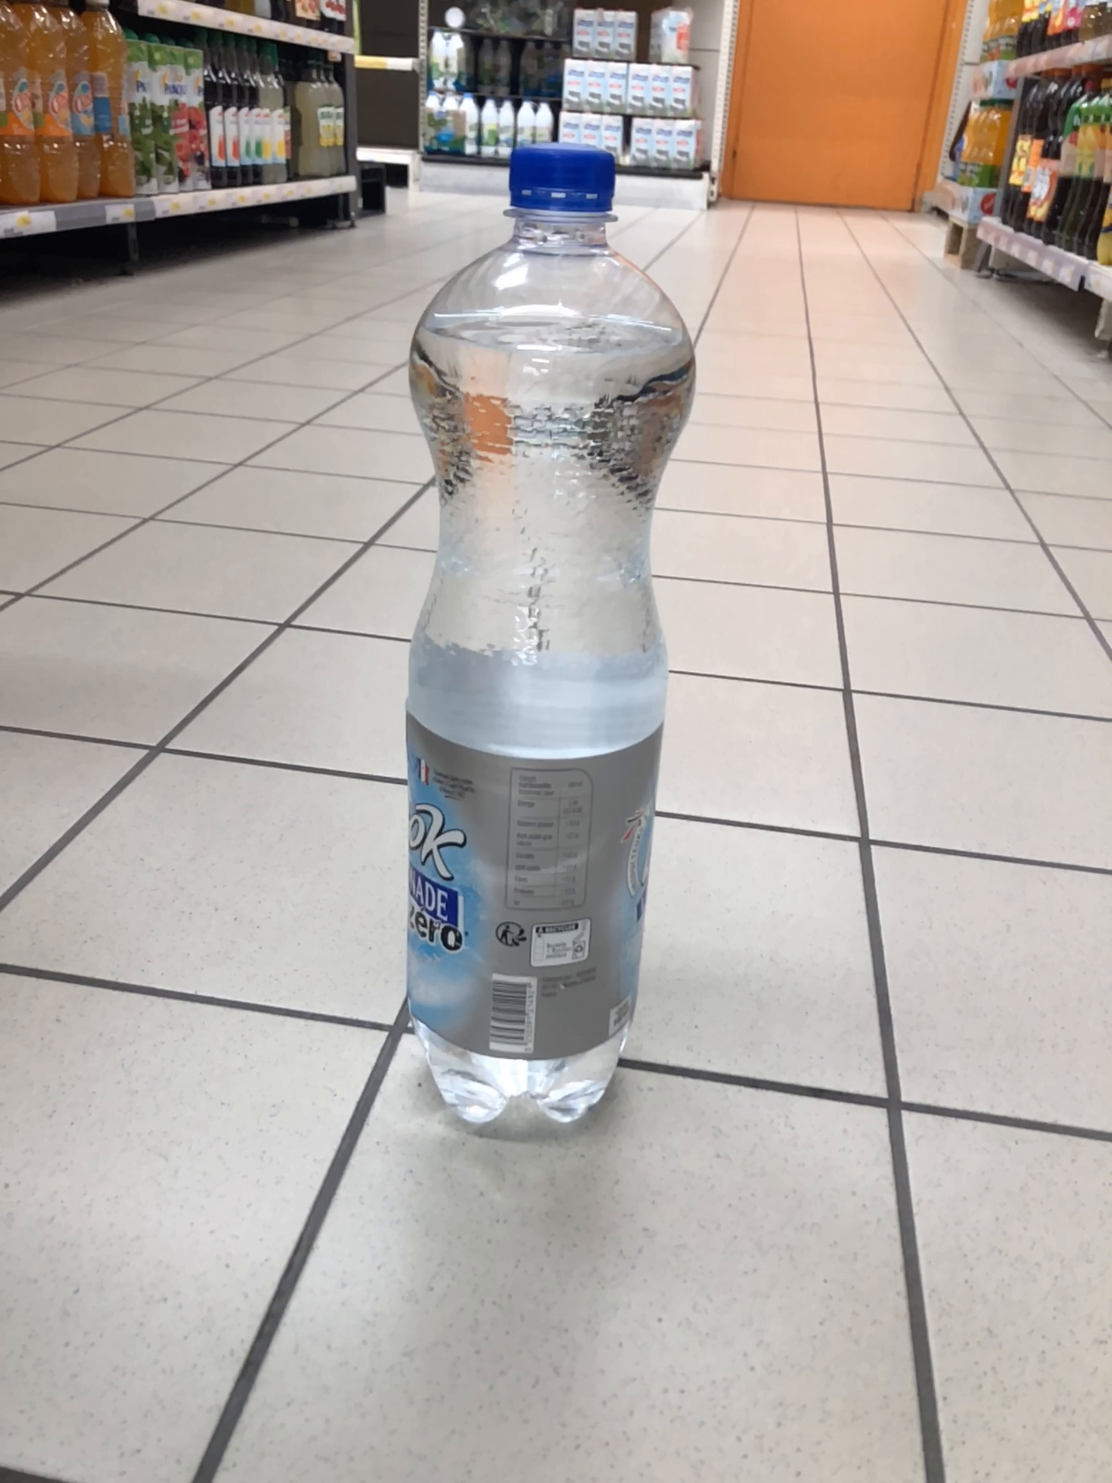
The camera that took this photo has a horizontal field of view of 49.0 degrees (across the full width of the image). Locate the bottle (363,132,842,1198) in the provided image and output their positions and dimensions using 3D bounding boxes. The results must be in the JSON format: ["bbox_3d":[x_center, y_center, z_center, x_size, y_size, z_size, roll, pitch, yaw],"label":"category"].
[{"bbox_3d":[0.000,-0.018,0.411,0.100,0.328,0.100,3,26,-1],"label":"bottle"}]
